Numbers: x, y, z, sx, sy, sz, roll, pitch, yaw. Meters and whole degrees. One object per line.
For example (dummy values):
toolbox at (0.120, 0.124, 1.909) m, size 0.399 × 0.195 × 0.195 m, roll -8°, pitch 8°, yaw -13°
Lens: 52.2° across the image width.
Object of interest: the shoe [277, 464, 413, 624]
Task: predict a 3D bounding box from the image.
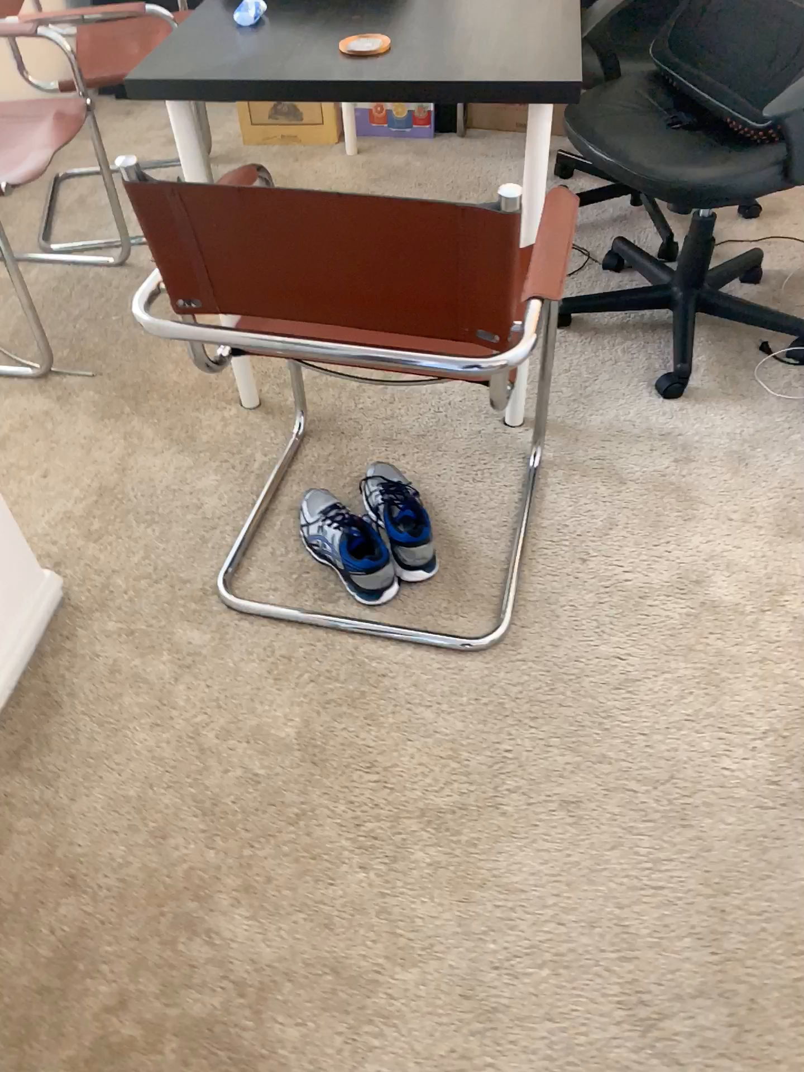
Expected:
shoe at (-0.114, 0.008, 1.608) m, size 0.130 × 0.099 × 0.312 m, roll -24°, pitch 50°, yaw -19°

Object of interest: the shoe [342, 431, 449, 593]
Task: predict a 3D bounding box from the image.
shoe at (-0.017, -0.054, 1.570) m, size 0.130 × 0.099 × 0.312 m, roll -12°, pitch 47°, yaw -8°
